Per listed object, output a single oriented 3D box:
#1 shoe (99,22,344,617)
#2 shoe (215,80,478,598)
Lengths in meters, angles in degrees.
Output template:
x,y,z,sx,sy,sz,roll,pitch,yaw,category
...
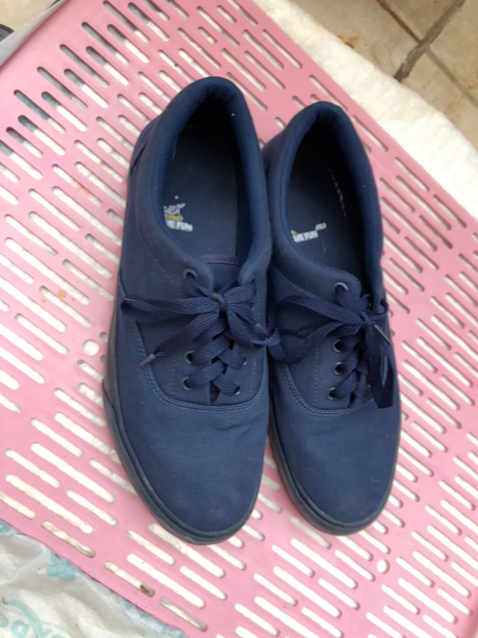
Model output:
x,y,z,sx,sy,sz,roll,pitch,yaw,category
-0.019,-0.002,0.305,0.107,0.100,0.270,-1,86,-18,shoe
0.068,0.005,0.340,0.107,0.100,0.270,-8,88,-18,shoe
